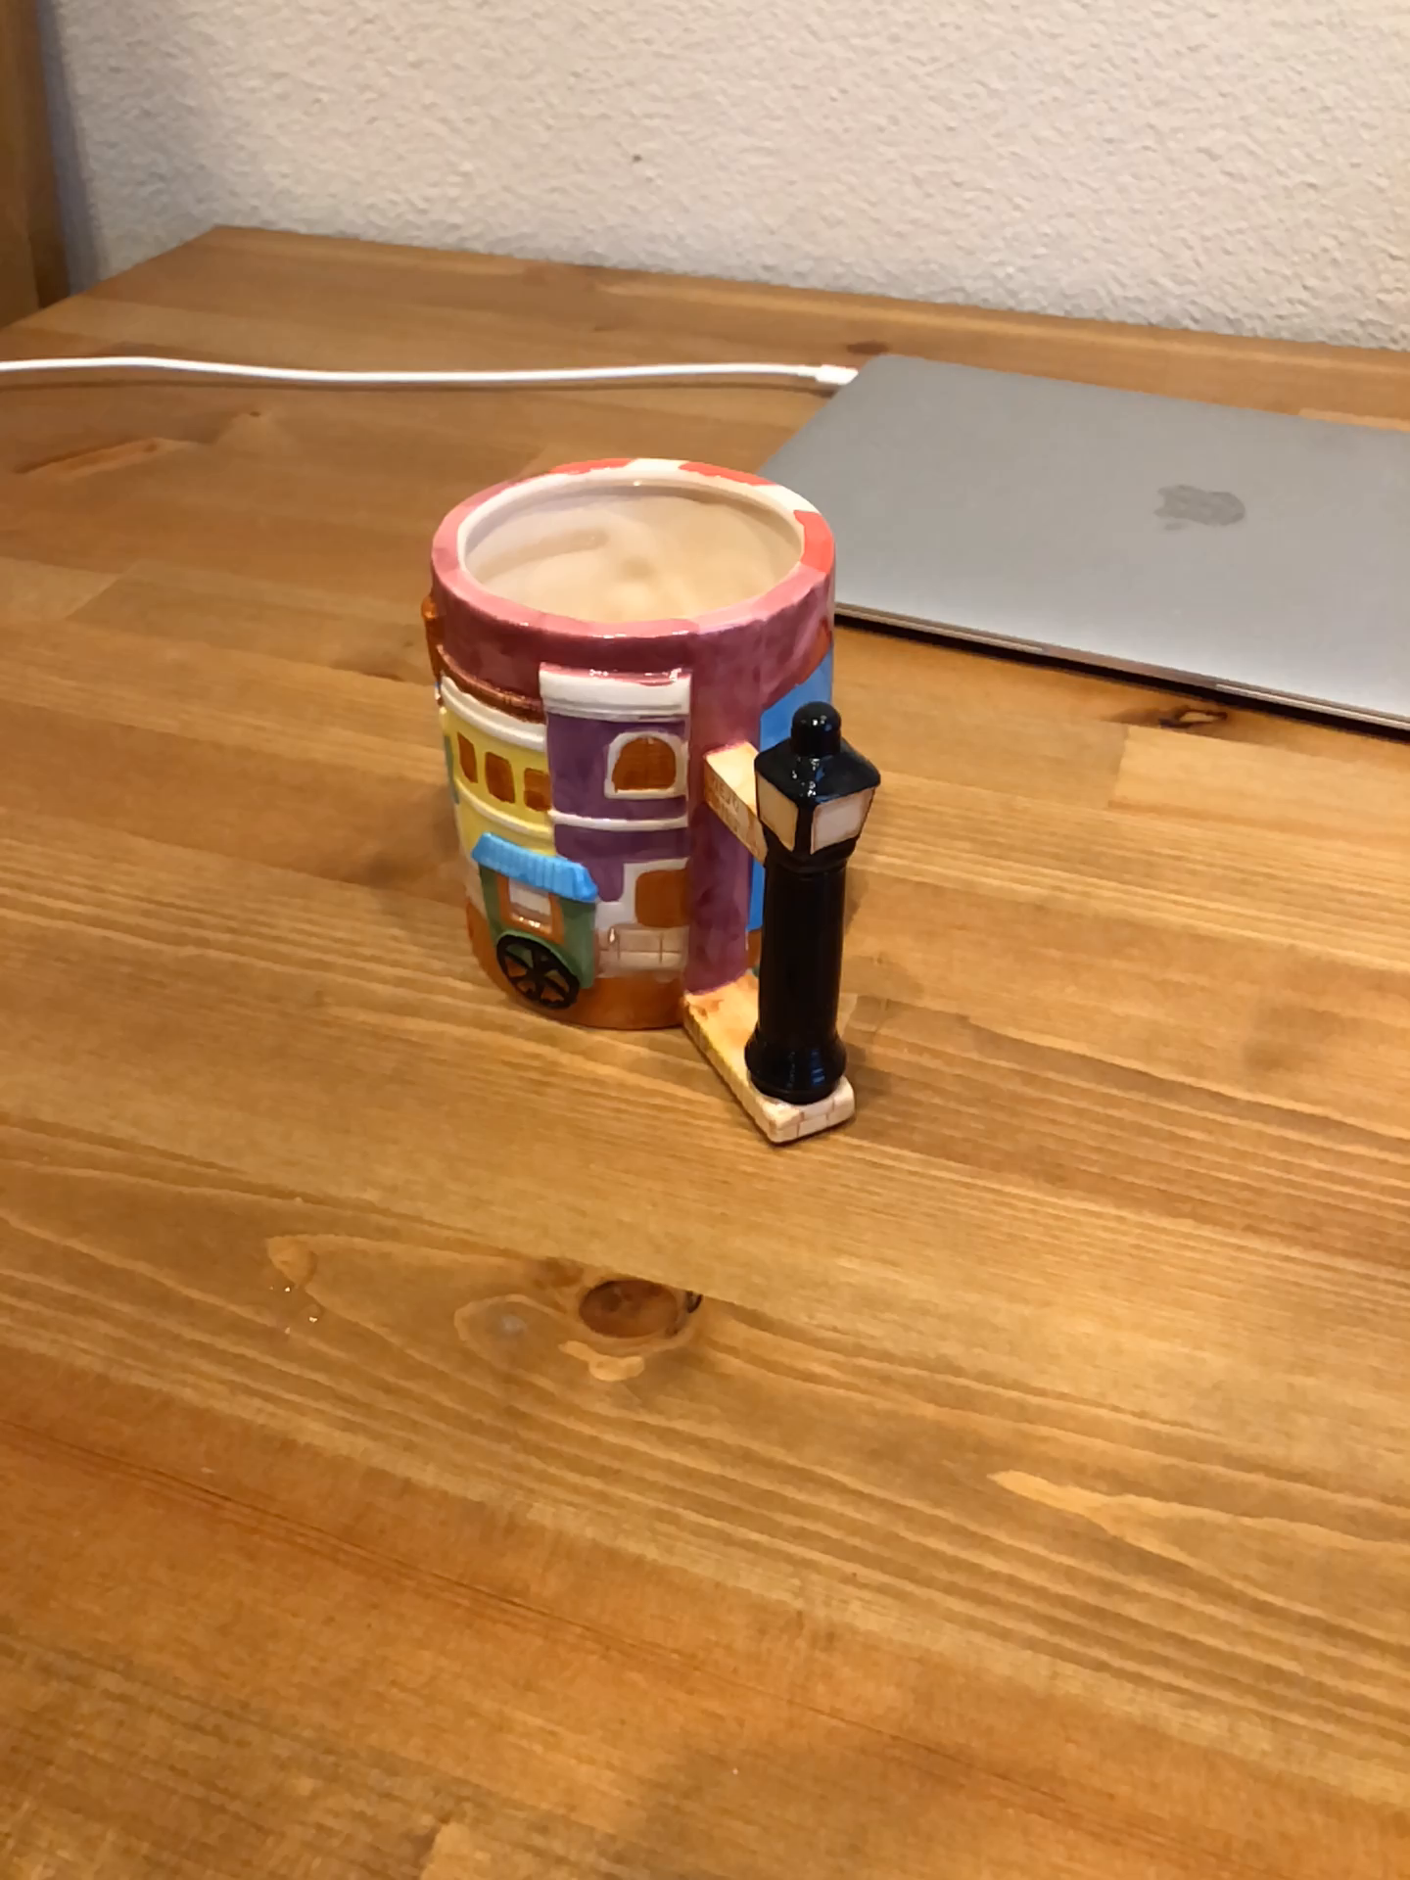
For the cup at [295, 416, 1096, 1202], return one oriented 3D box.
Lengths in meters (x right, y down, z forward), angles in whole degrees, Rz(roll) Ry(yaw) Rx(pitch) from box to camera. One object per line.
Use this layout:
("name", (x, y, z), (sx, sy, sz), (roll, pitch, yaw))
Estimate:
("cup", (-0.006, -0.036, 0.325), (0.090, 0.090, 0.130), (-26, 45, -30))
